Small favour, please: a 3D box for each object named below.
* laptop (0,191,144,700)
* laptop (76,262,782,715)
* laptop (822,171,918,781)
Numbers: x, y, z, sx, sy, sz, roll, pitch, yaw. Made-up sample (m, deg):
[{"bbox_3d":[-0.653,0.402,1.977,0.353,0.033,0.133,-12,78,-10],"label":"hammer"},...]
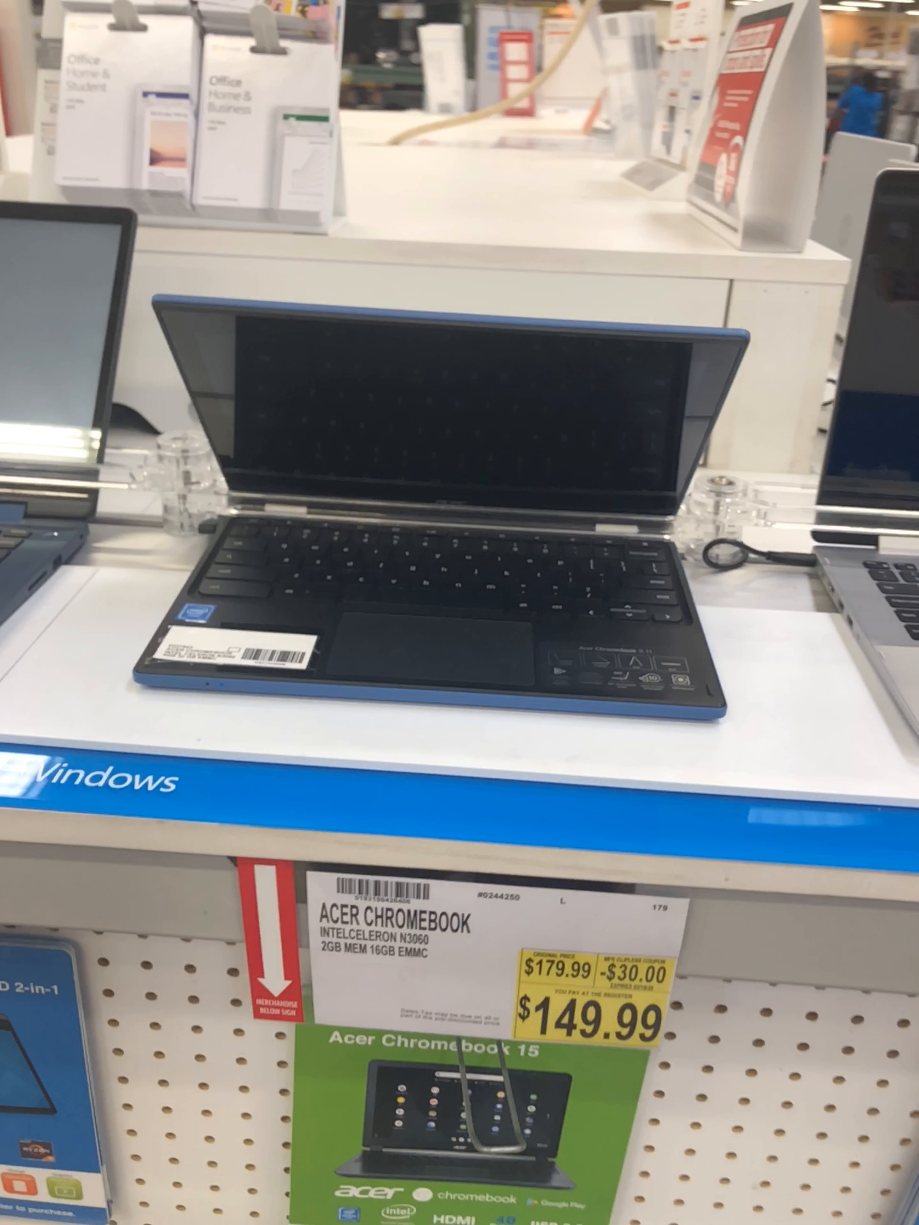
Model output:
[{"bbox_3d":[-0.401,-0.127,0.580,0.304,0.169,0.369,3,27,1],"label":"laptop"},{"bbox_3d":[-0.014,-0.079,0.542,0.293,0.159,0.195,4,28,2],"label":"laptop"},{"bbox_3d":[0.400,-0.089,0.517,0.340,0.218,0.257,3,29,4],"label":"laptop"}]
